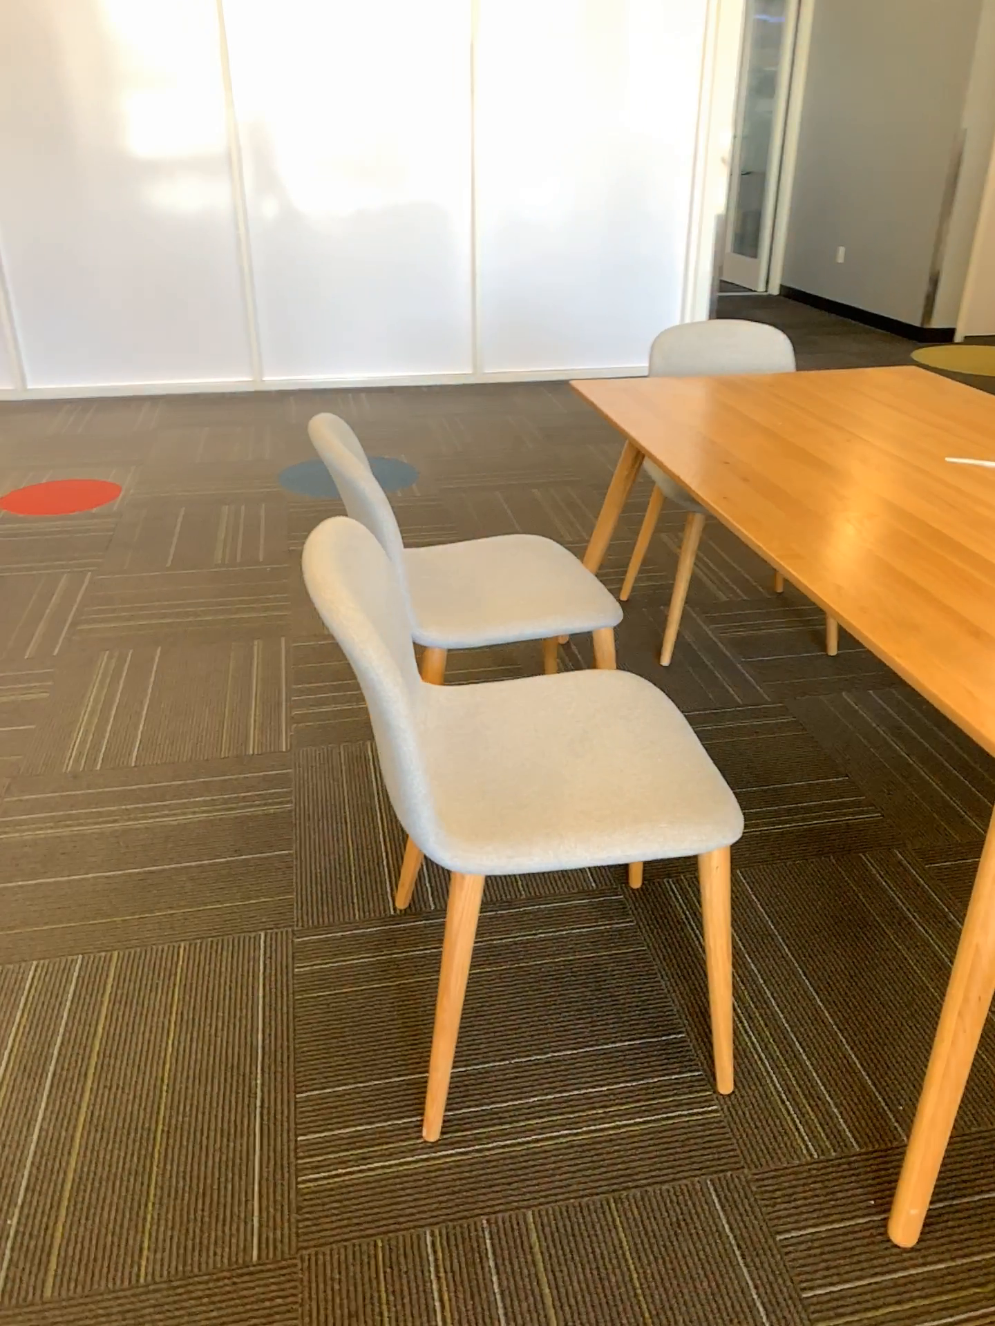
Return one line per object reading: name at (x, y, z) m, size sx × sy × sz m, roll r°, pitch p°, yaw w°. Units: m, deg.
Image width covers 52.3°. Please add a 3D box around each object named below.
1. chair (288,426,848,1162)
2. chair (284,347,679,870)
chair at (0.050, 0.151, 1.485) m, size 0.580 × 0.805 × 0.574 m, roll -8°, pitch 28°, yaw -10°
chair at (-0.049, -0.143, 2.040) m, size 0.580 × 0.805 × 0.574 m, roll -10°, pitch 29°, yaw -15°
